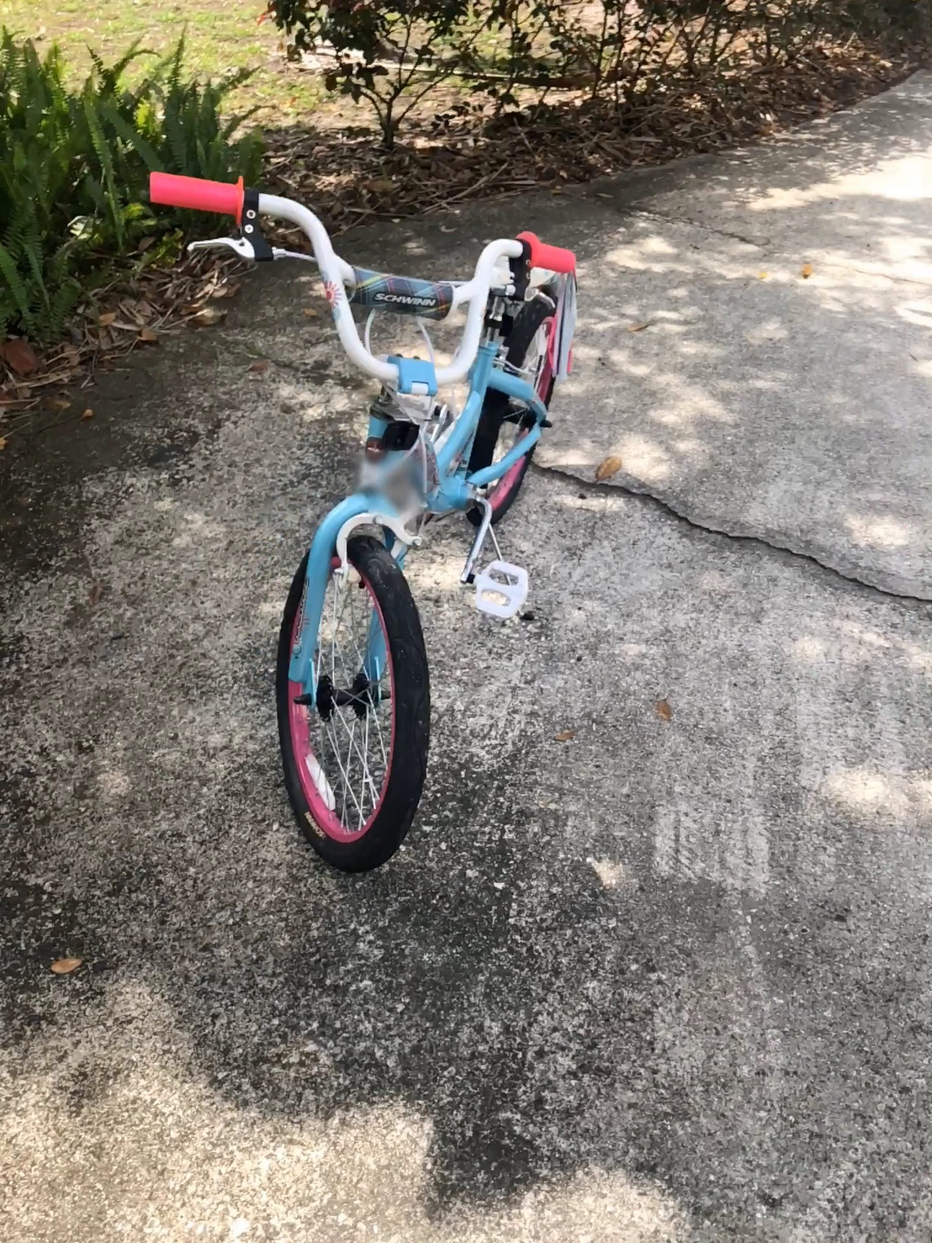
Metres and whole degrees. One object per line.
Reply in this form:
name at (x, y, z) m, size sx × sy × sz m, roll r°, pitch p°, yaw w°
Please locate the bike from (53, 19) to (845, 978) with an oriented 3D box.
bike at (0.087, -0.341, 1.664) m, size 0.699 × 0.924 × 1.316 m, roll 7°, pitch 40°, yaw 10°
